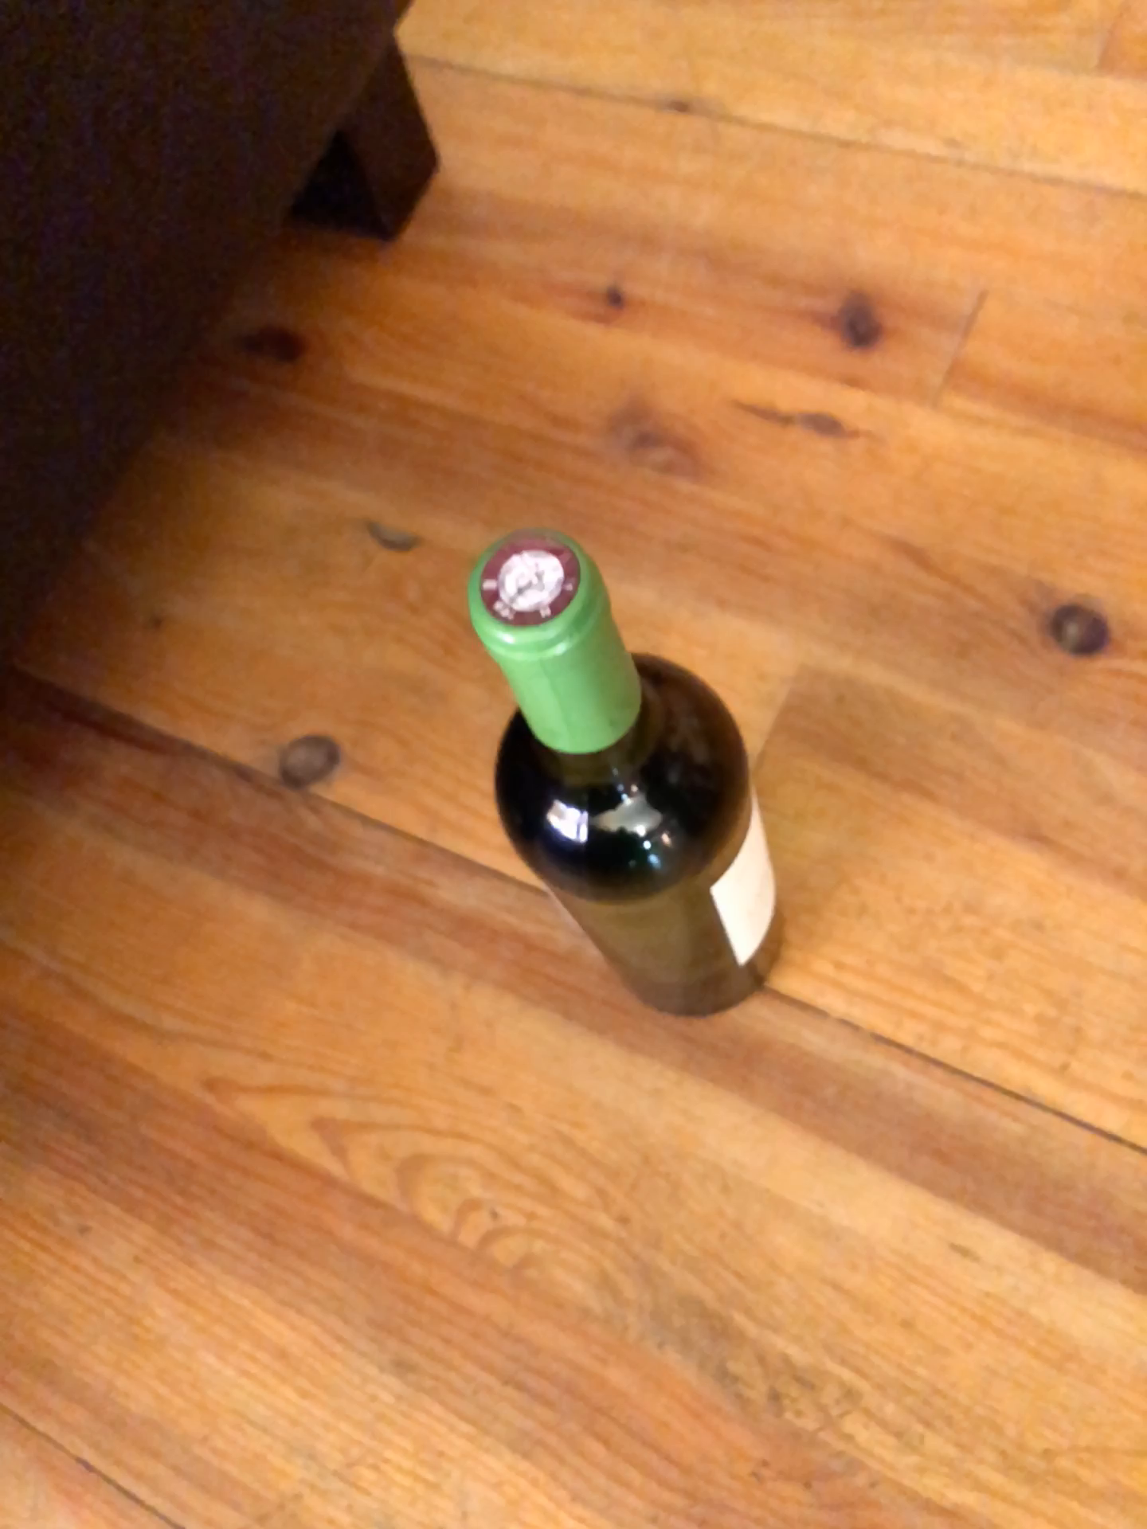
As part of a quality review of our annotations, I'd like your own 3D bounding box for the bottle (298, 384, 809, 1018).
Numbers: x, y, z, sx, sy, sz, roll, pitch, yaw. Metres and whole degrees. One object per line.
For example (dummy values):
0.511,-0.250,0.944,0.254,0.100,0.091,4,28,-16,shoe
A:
0.022,0.009,0.396,0.080,0.299,0.080,-4,69,12,bottle
